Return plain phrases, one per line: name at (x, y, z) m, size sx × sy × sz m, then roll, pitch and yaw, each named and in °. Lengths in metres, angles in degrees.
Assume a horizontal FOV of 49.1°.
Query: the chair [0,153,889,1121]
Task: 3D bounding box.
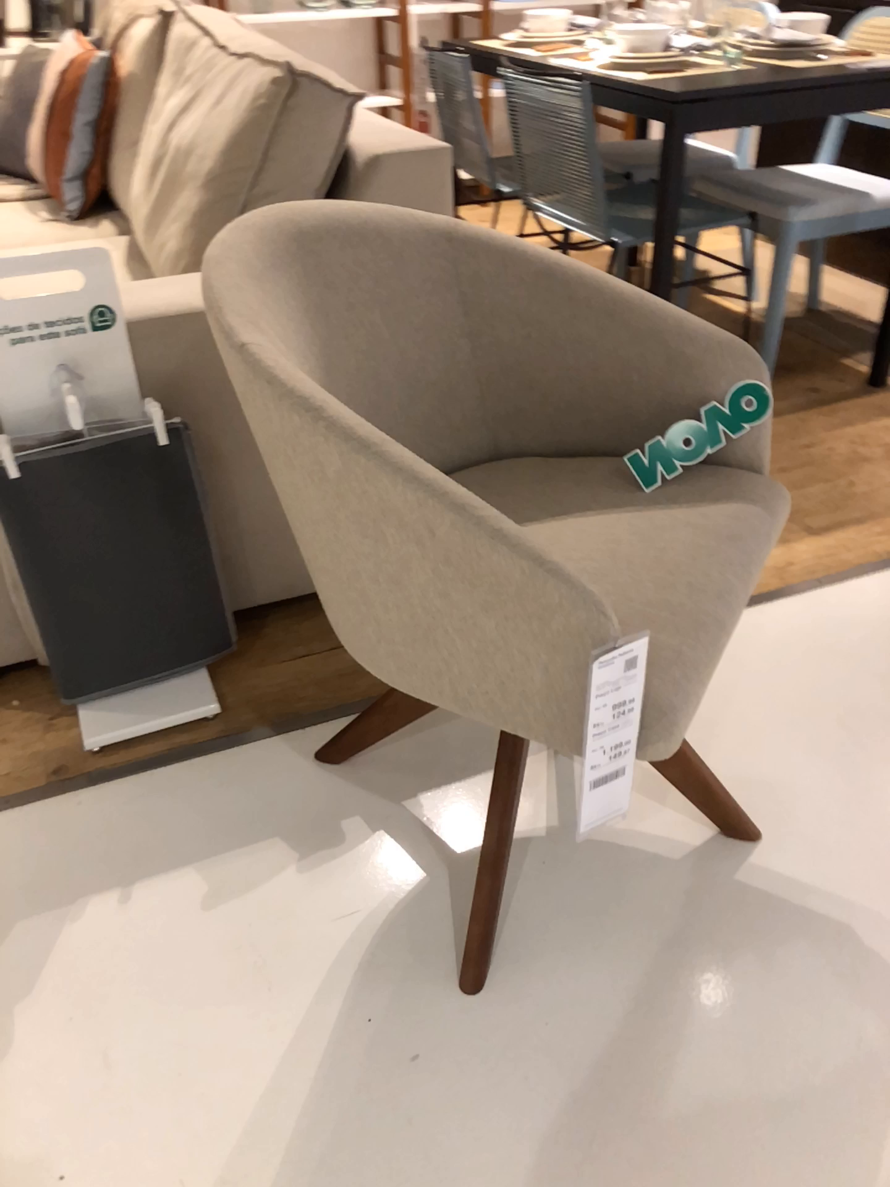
chair at (0.082, -0.033, 1.210) m, size 0.711 × 0.794 × 0.695 m, roll 15°, pitch 38°, yaw 24°
